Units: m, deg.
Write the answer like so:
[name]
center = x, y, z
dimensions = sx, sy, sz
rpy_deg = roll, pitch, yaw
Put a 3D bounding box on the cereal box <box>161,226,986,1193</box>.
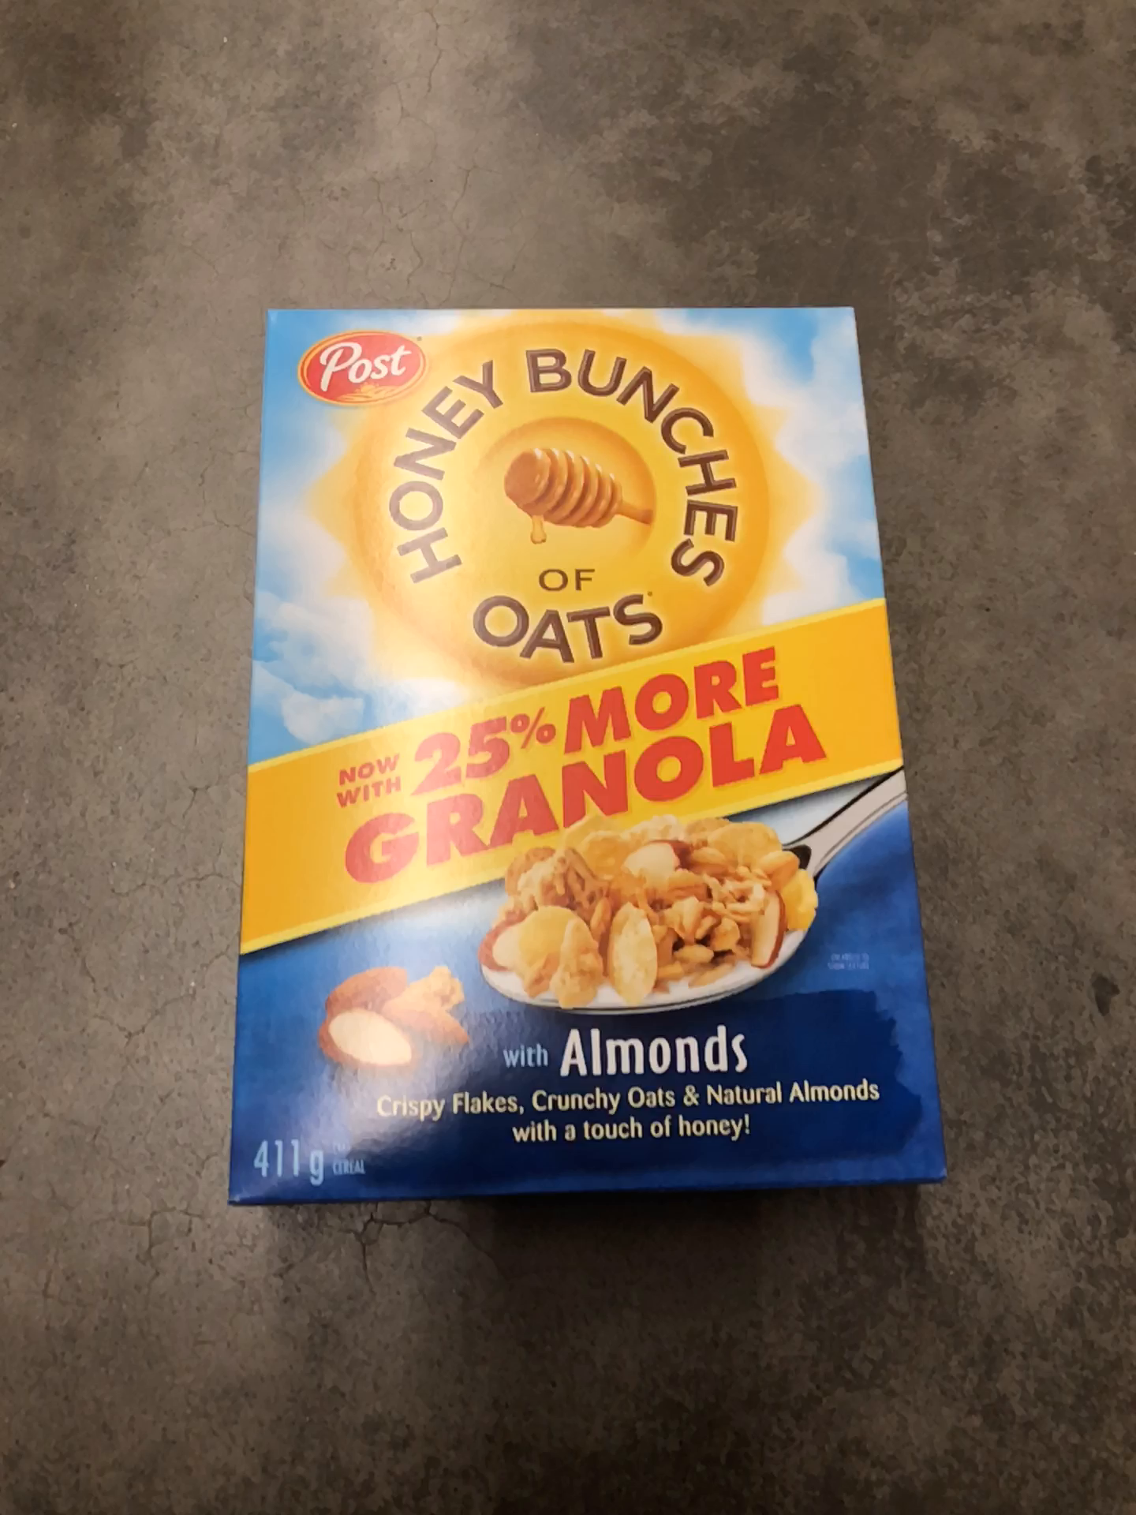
[cereal box]
center = -0.003, -0.021, 0.367
dimensions = 0.200, 0.060, 0.271
rpy_deg = -1, 75, -3
